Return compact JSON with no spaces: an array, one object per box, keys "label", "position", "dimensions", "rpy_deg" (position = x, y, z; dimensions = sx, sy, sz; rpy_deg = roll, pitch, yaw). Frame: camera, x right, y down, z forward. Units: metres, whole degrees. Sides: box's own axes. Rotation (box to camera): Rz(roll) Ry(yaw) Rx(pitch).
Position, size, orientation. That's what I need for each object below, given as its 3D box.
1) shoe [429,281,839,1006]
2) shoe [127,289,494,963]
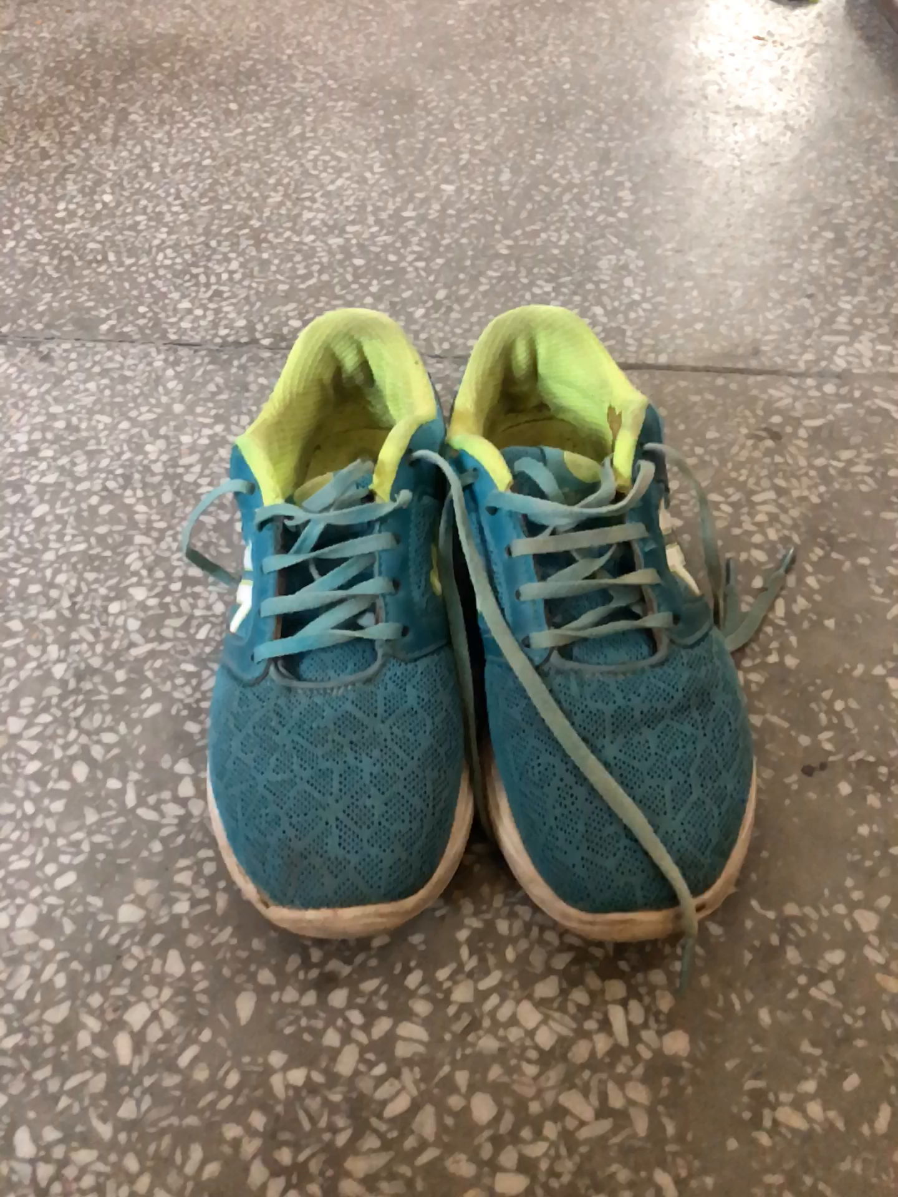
[{"label":"shoe","position":[0.048,0.003,0.359],"dimensions":[0.100,0.080,0.251],"rpy_deg":[-3,56,2]},{"label":"shoe","position":[-0.033,-0.005,0.357],"dimensions":[0.090,0.080,0.241],"rpy_deg":[-2,50,3]}]
